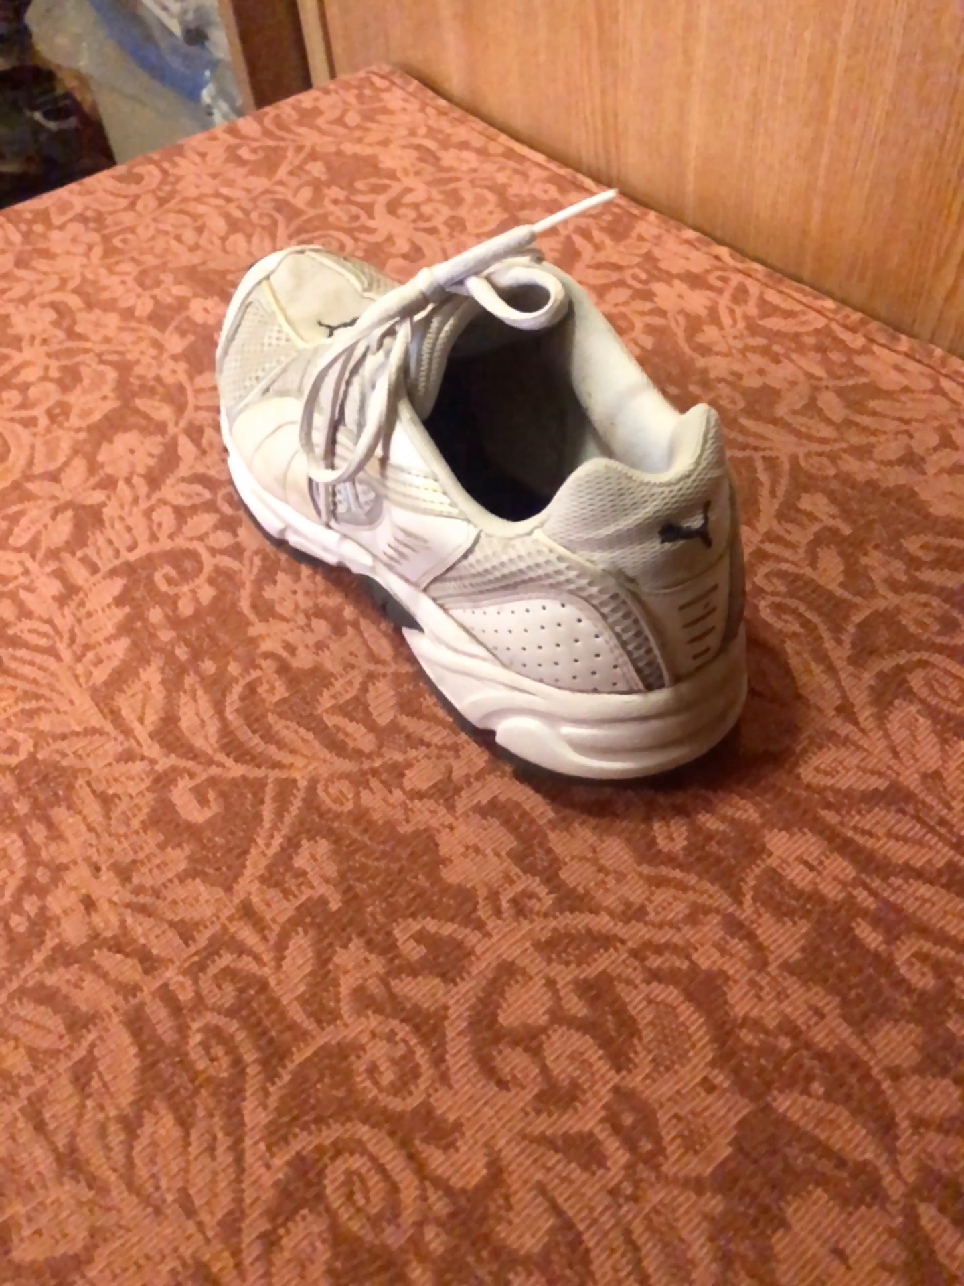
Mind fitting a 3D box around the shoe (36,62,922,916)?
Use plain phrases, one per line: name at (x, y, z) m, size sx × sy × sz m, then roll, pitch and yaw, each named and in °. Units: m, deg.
shoe at (-0.025, -0.077, 0.345) m, size 0.120 × 0.100 × 0.291 m, roll -28°, pitch 51°, yaw -18°
